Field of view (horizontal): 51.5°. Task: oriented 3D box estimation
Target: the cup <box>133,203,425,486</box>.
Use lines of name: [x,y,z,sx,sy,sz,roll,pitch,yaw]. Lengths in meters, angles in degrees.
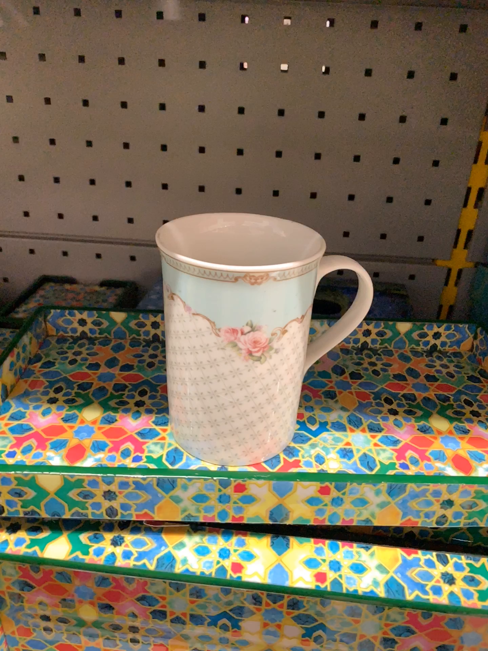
cup: [0.011,0.001,0.256,0.110,0.100,0.080,-10,30,-23]
